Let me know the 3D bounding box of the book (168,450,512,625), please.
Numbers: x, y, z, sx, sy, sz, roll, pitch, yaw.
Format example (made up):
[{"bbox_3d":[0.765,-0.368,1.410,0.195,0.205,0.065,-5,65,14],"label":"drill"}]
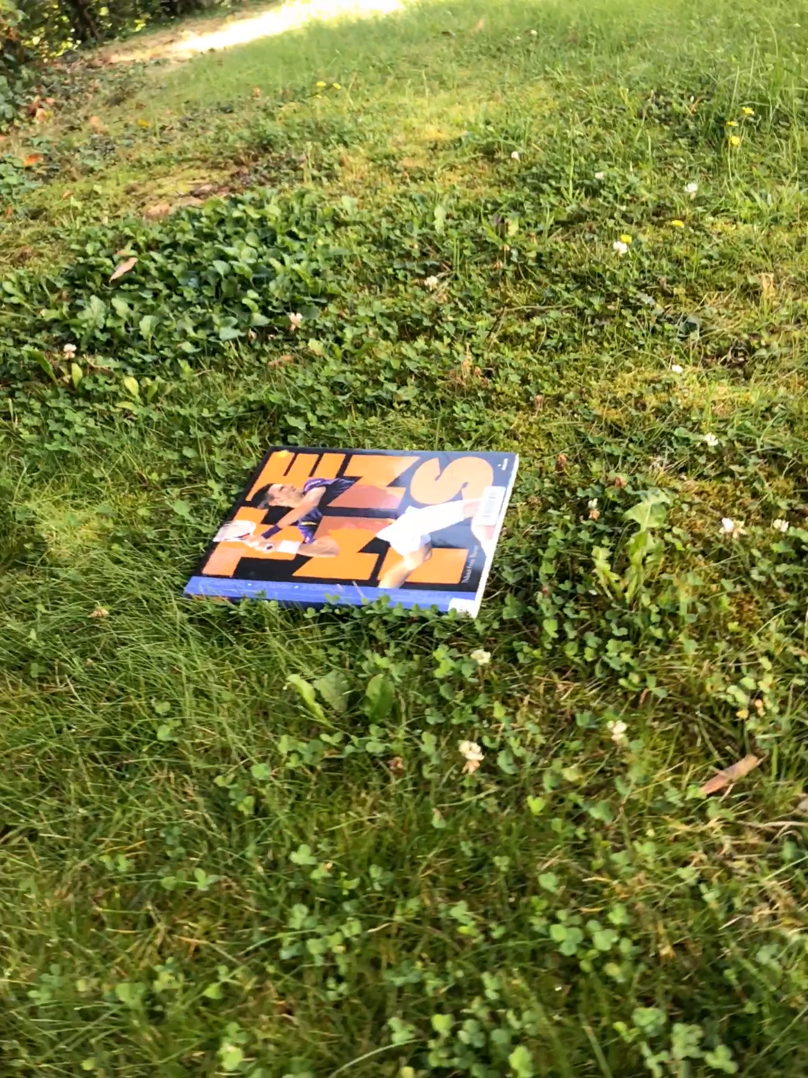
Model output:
[{"bbox_3d":[-0.045,-0.012,0.739,0.240,0.016,0.199,2,40,17],"label":"book"}]
